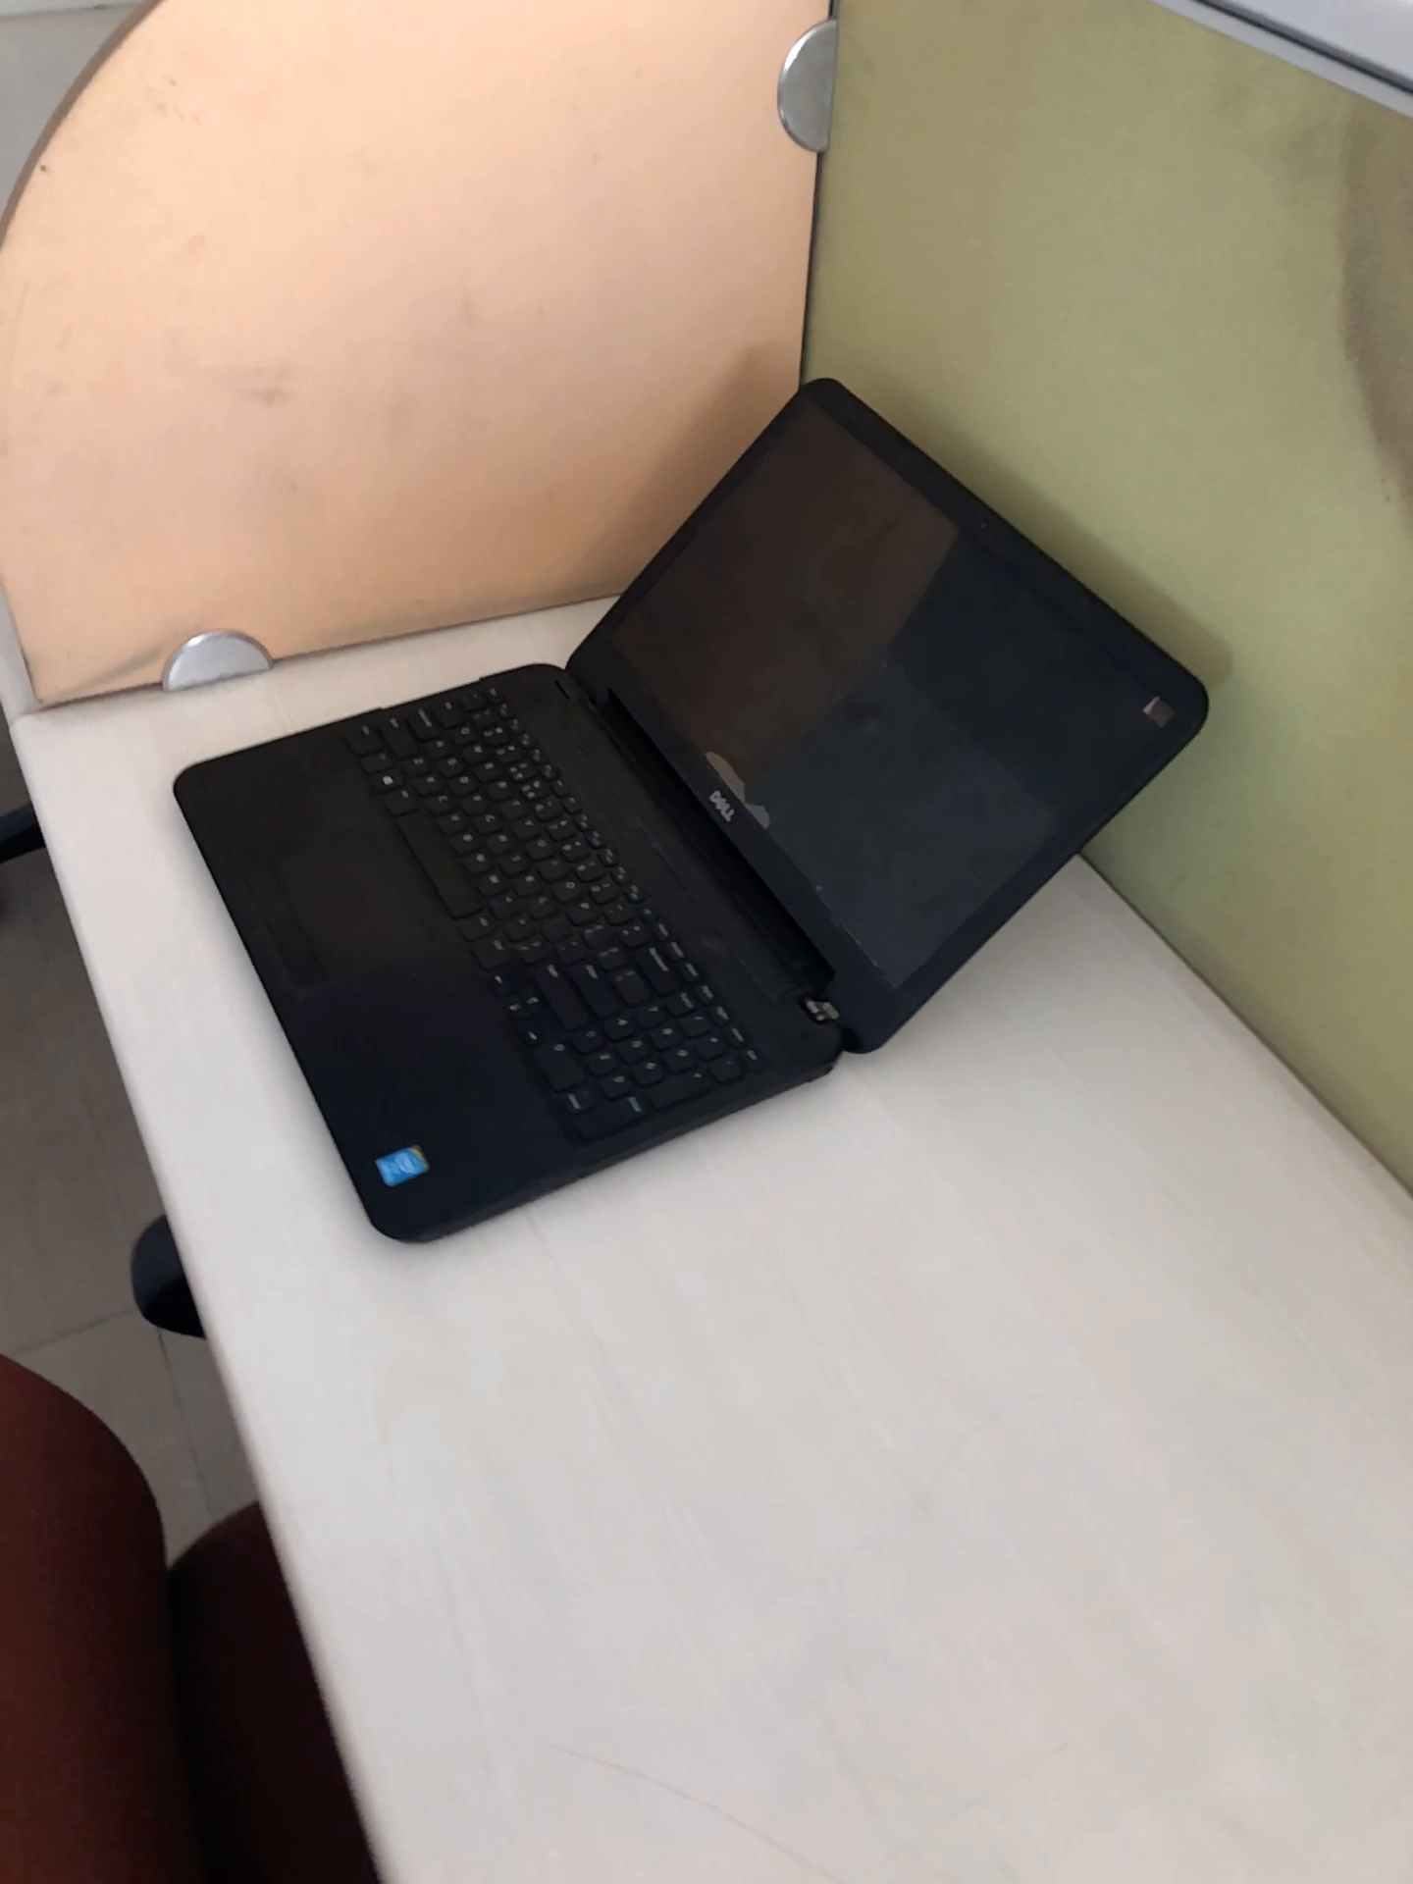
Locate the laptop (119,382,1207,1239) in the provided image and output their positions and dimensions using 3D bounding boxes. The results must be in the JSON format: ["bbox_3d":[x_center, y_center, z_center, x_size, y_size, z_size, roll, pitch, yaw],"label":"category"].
[{"bbox_3d":[-0.036,-0.105,0.830,0.425,0.165,0.358,-20,50,-21],"label":"laptop"}]
